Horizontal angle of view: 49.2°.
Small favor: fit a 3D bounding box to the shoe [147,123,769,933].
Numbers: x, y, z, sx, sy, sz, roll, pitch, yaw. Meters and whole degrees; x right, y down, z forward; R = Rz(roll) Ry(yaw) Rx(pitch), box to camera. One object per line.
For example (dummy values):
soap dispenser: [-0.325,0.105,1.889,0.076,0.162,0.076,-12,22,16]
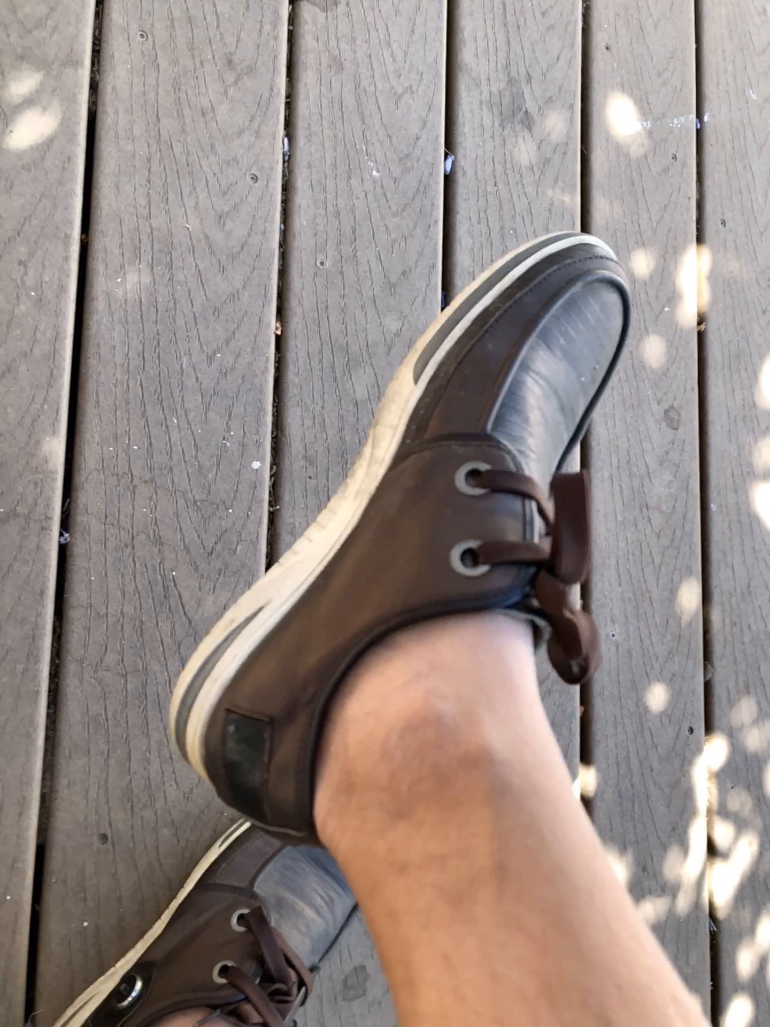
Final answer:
shoe: [0.053,-0.001,0.354,0.119,0.104,0.295,41,80,-37]
